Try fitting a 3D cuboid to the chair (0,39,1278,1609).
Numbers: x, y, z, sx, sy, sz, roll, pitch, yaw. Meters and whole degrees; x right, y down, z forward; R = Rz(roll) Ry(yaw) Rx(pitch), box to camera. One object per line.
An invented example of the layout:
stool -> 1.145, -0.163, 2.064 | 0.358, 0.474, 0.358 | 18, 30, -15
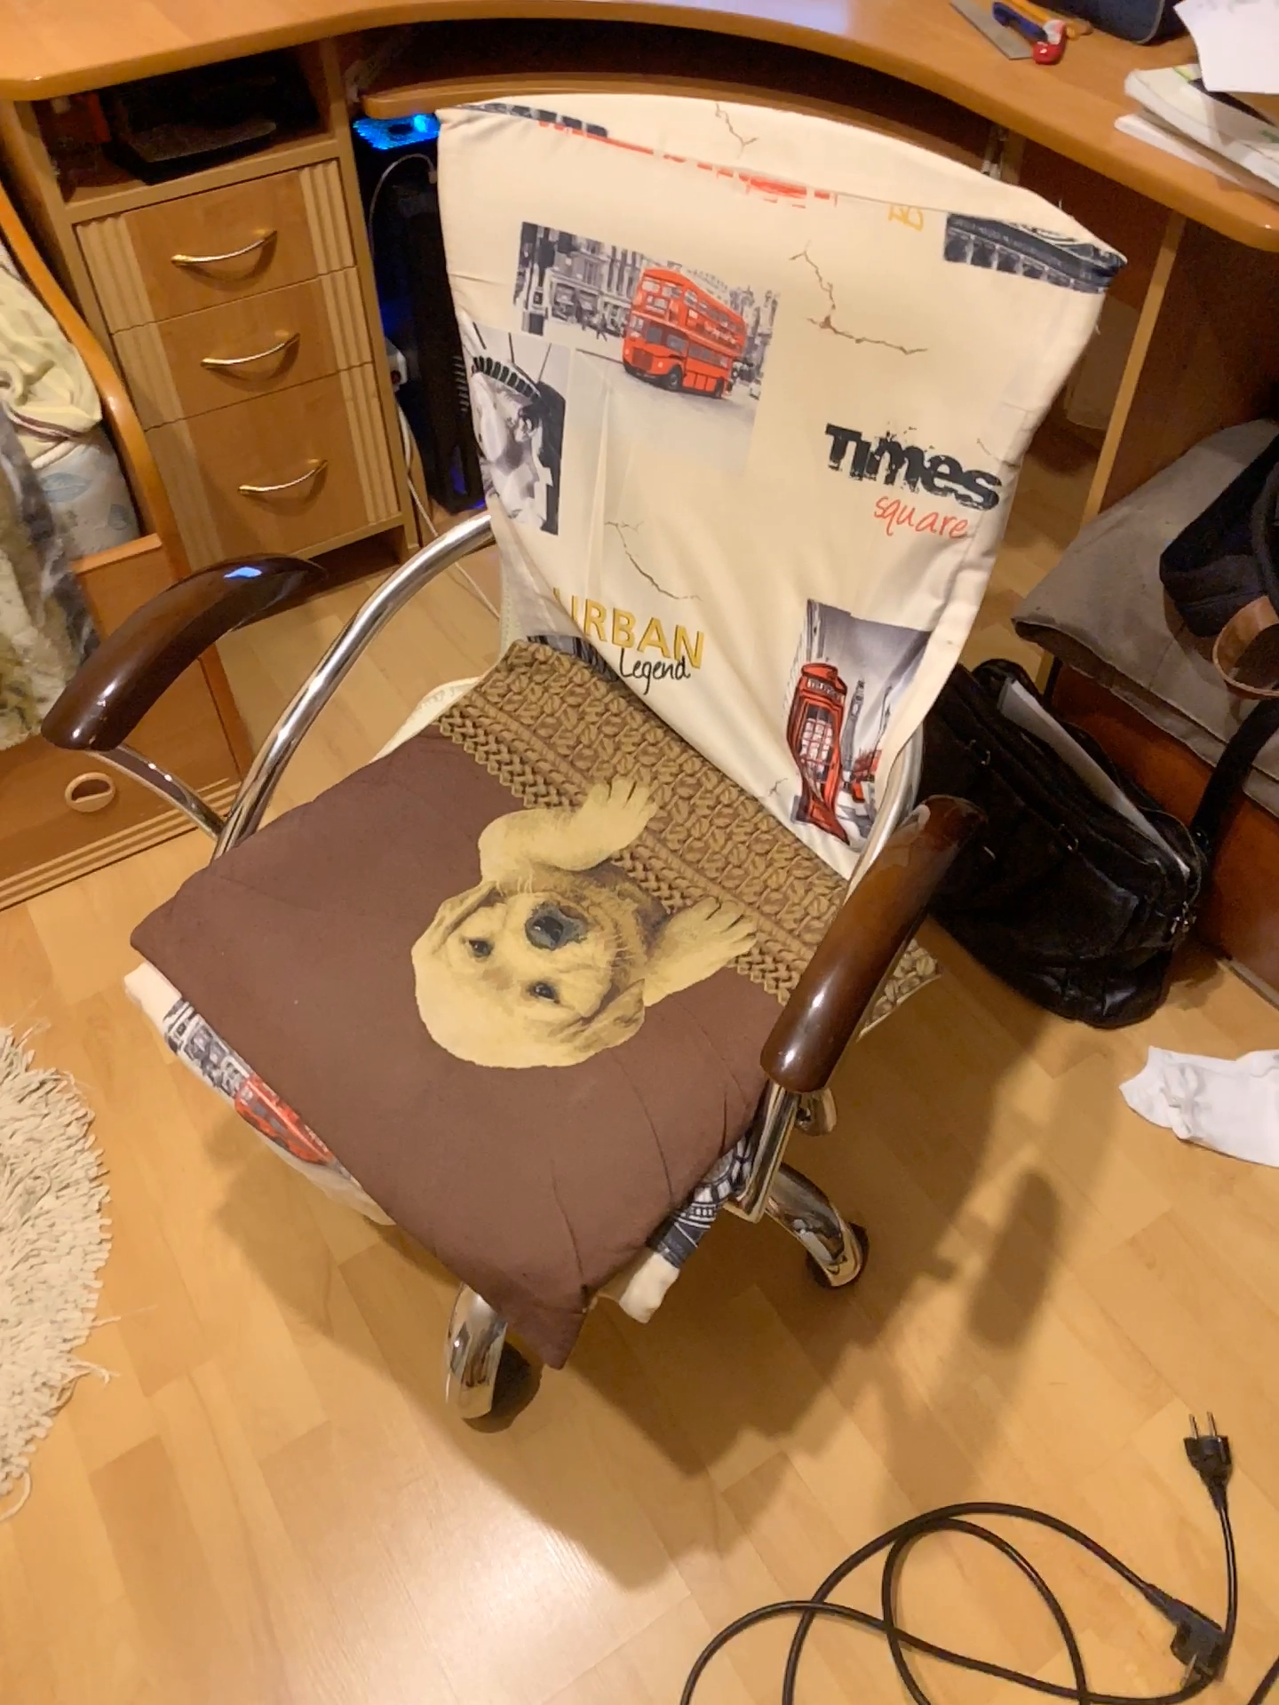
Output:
chair -> -0.020, -0.004, 0.818 | 0.475, 0.665, 0.567 | 24, 54, 18
